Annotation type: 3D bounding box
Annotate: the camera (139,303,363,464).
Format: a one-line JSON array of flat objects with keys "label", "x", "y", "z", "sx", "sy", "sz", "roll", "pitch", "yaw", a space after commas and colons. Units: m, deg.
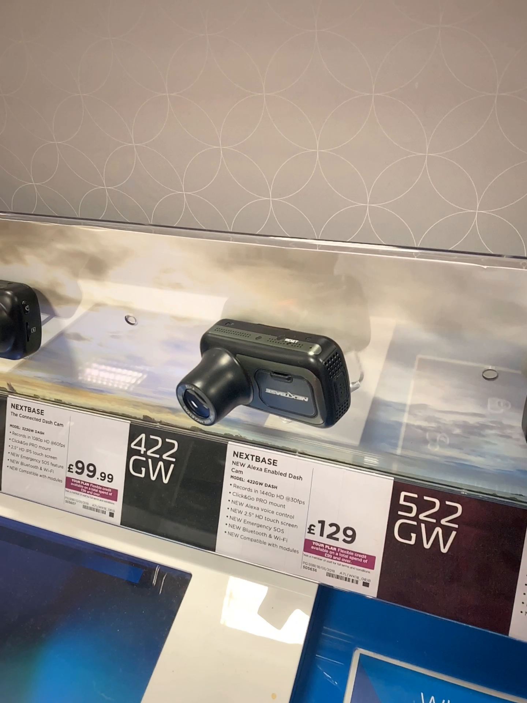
[{"label": "camera", "x": -0.006, "y": 0.010, "z": 0.262, "sx": 0.090, "sy": 0.040, "sz": 0.050, "roll": 12, "pitch": 37, "yaw": 37}]
